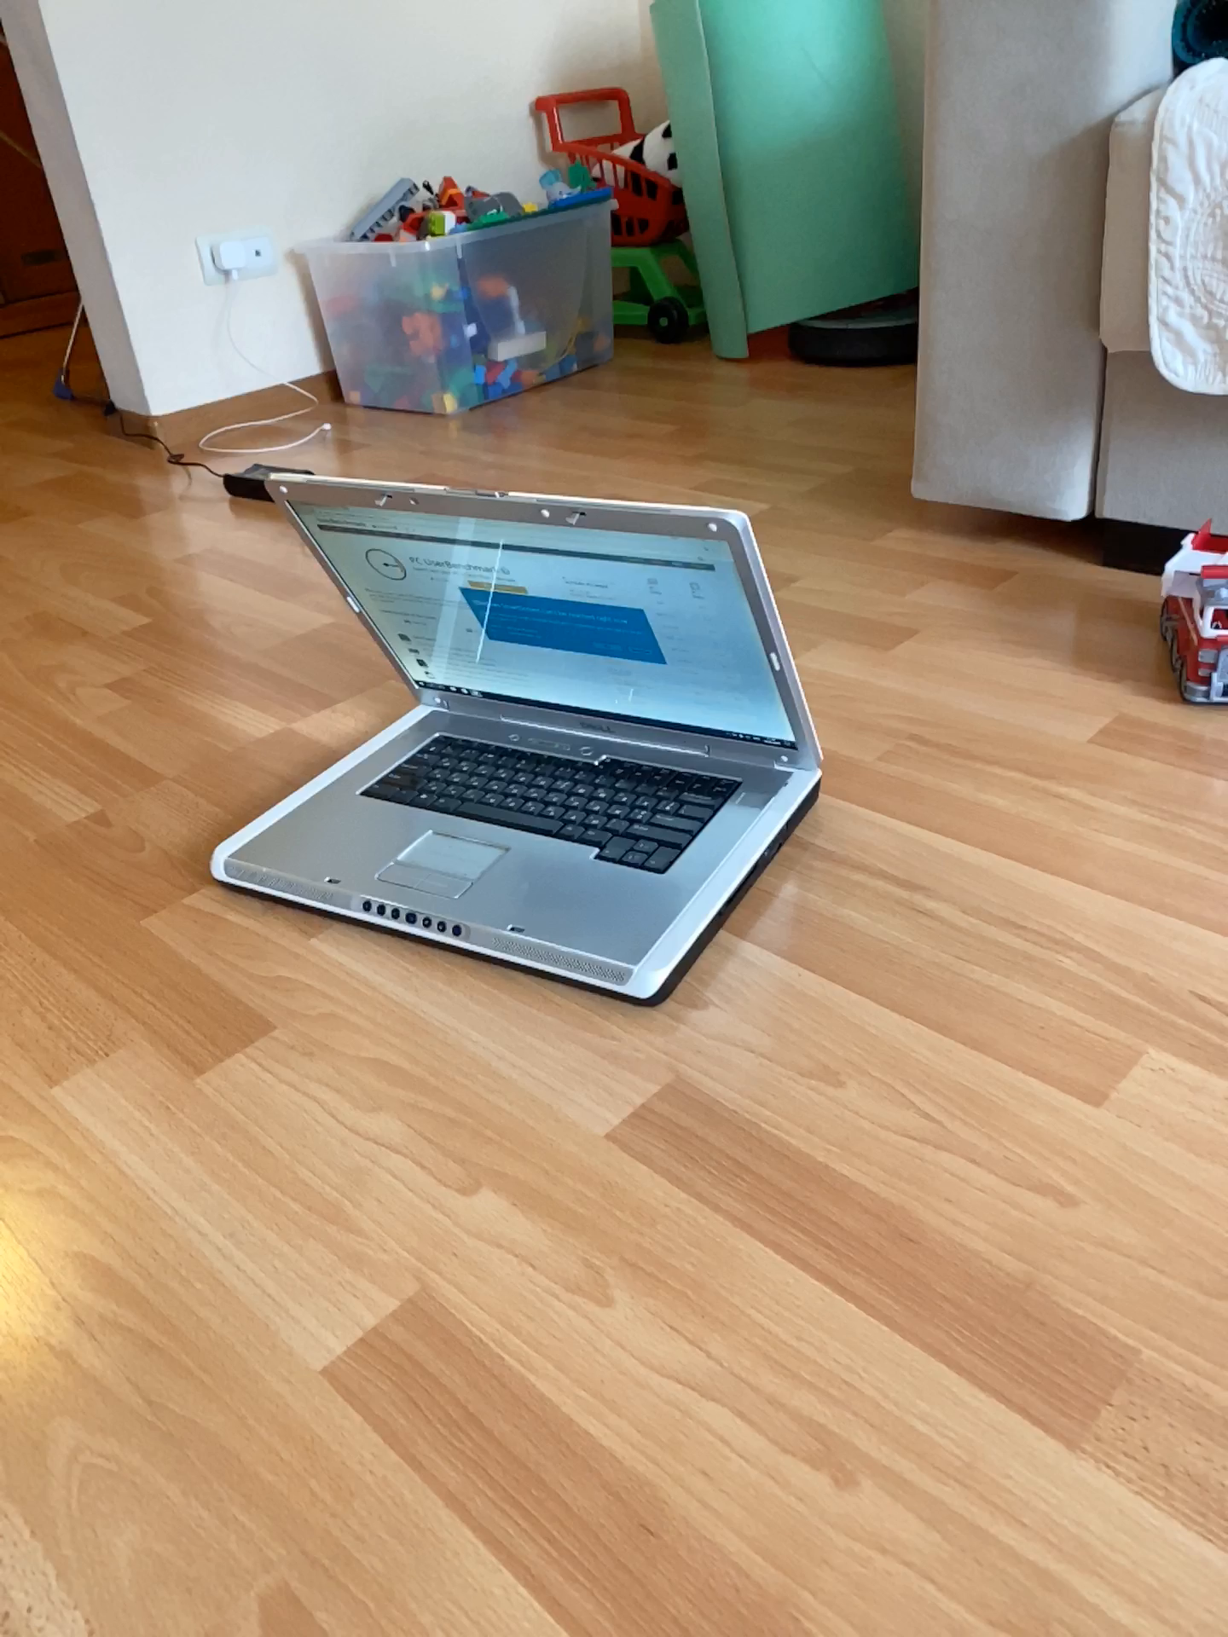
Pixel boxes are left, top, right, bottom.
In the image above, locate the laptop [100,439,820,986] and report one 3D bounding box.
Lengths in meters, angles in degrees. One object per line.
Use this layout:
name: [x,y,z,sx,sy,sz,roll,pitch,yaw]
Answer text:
laptop: [-0.089,-0.104,0.880,0.387,0.238,0.274,11,34,28]
